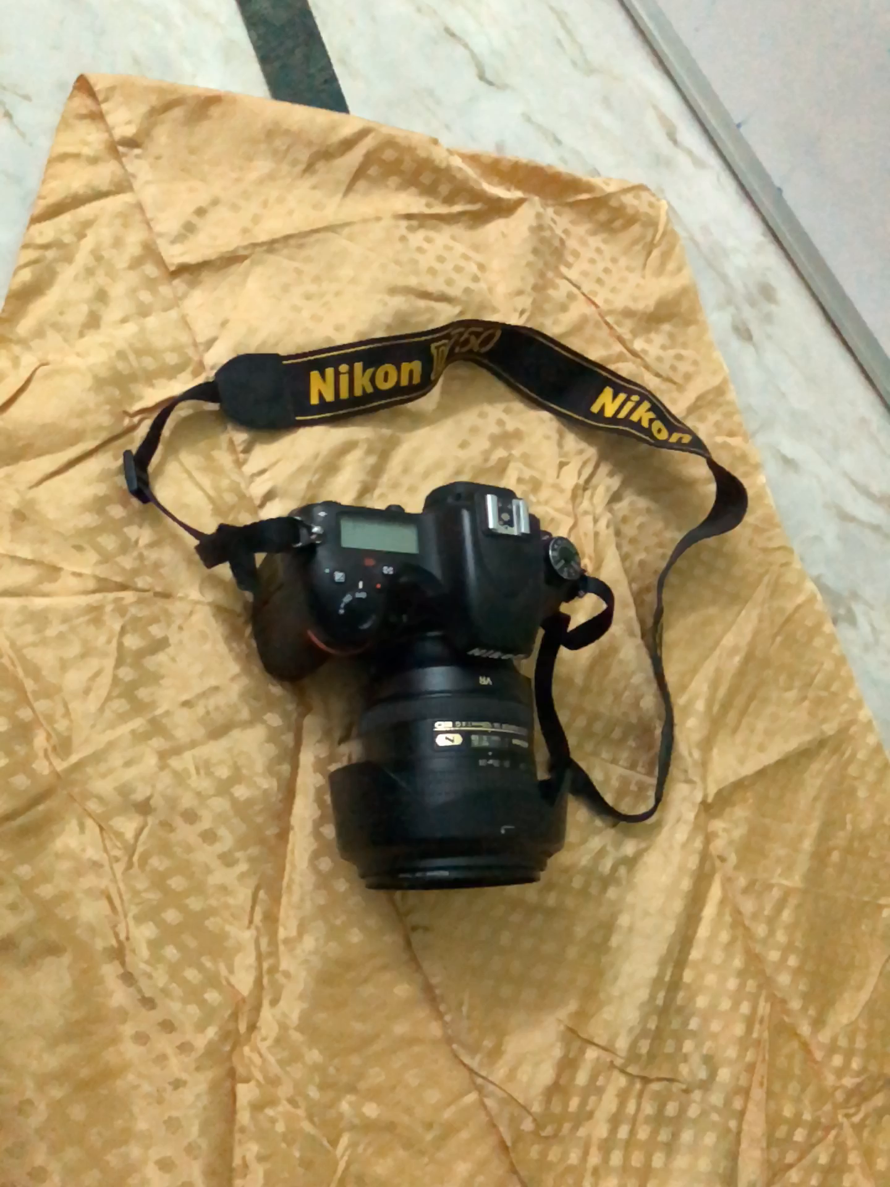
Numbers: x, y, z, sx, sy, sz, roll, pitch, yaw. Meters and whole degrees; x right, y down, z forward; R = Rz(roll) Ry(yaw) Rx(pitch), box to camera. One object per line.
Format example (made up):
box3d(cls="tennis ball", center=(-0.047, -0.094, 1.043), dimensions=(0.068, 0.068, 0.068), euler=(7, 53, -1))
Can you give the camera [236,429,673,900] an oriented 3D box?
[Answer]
box3d(cls="camera", center=(-0.004, 0.038, 0.430), dimensions=(0.149, 0.110, 0.170), euler=(4, 74, -26))
